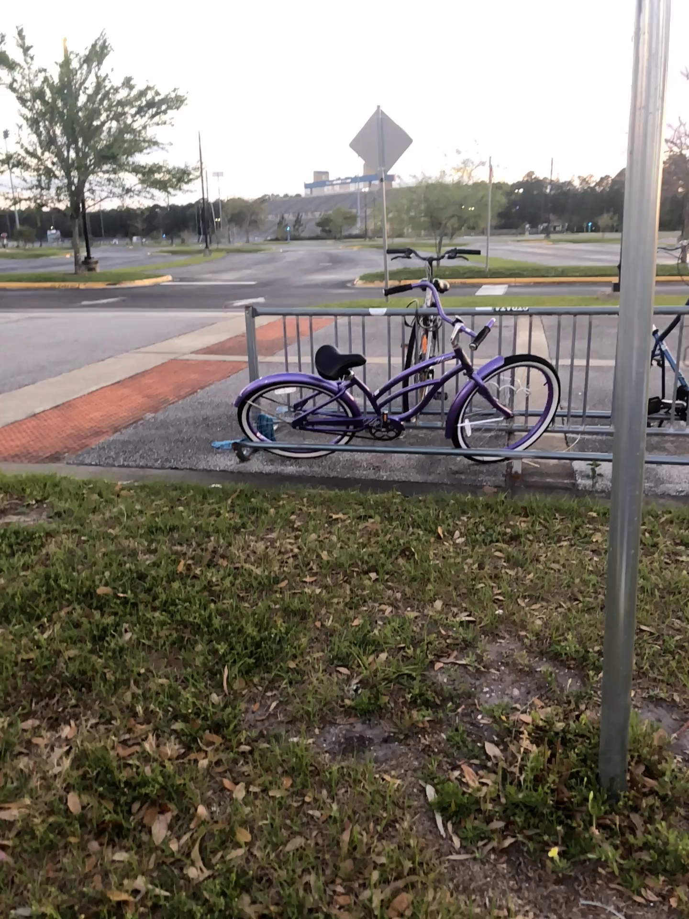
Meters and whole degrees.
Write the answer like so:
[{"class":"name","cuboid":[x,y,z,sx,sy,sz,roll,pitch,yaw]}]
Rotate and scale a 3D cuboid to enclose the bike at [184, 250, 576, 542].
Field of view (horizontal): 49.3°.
[{"class":"bike","cuboid":[0.242,-0.366,3.798,1.699,1.118,0.853,-4,15,3]}]
